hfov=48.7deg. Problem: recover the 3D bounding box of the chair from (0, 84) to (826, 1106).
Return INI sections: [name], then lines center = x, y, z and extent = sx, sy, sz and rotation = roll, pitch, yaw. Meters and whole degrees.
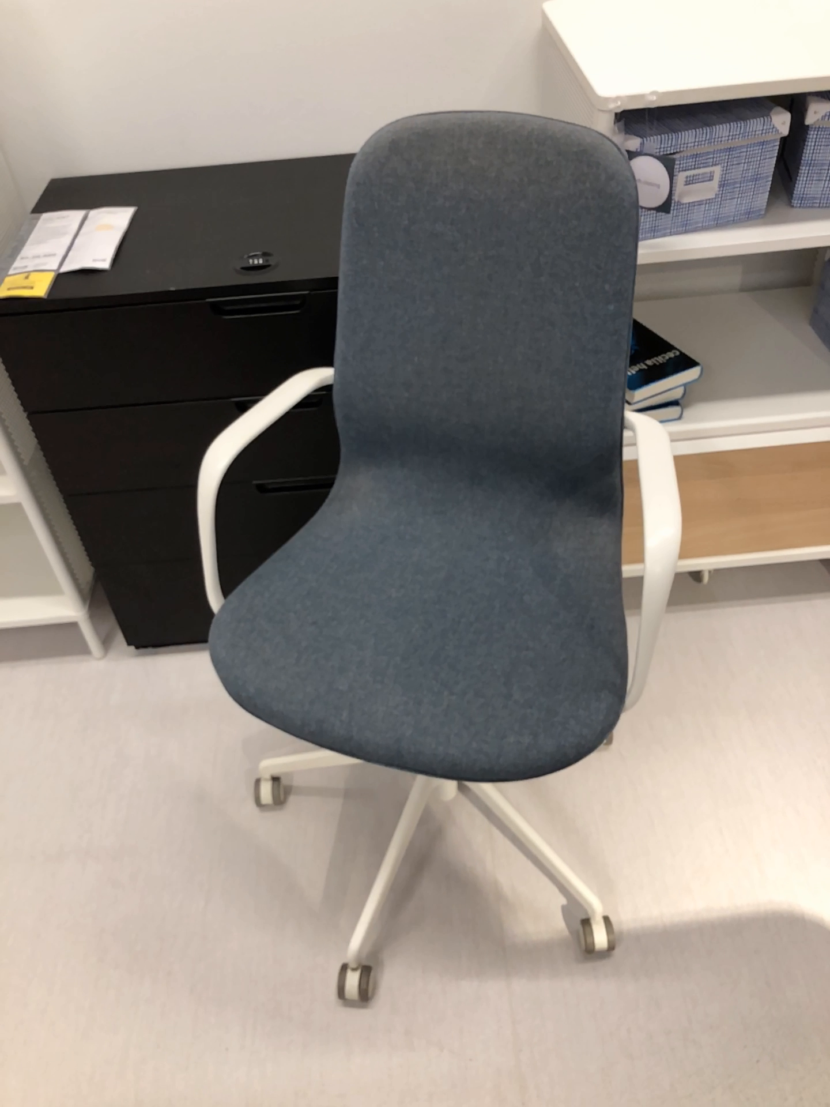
[chair]
center = 0.004, 0.064, 1.186
extent = 0.701, 0.993, 0.704
rotation = 14, 47, 19
